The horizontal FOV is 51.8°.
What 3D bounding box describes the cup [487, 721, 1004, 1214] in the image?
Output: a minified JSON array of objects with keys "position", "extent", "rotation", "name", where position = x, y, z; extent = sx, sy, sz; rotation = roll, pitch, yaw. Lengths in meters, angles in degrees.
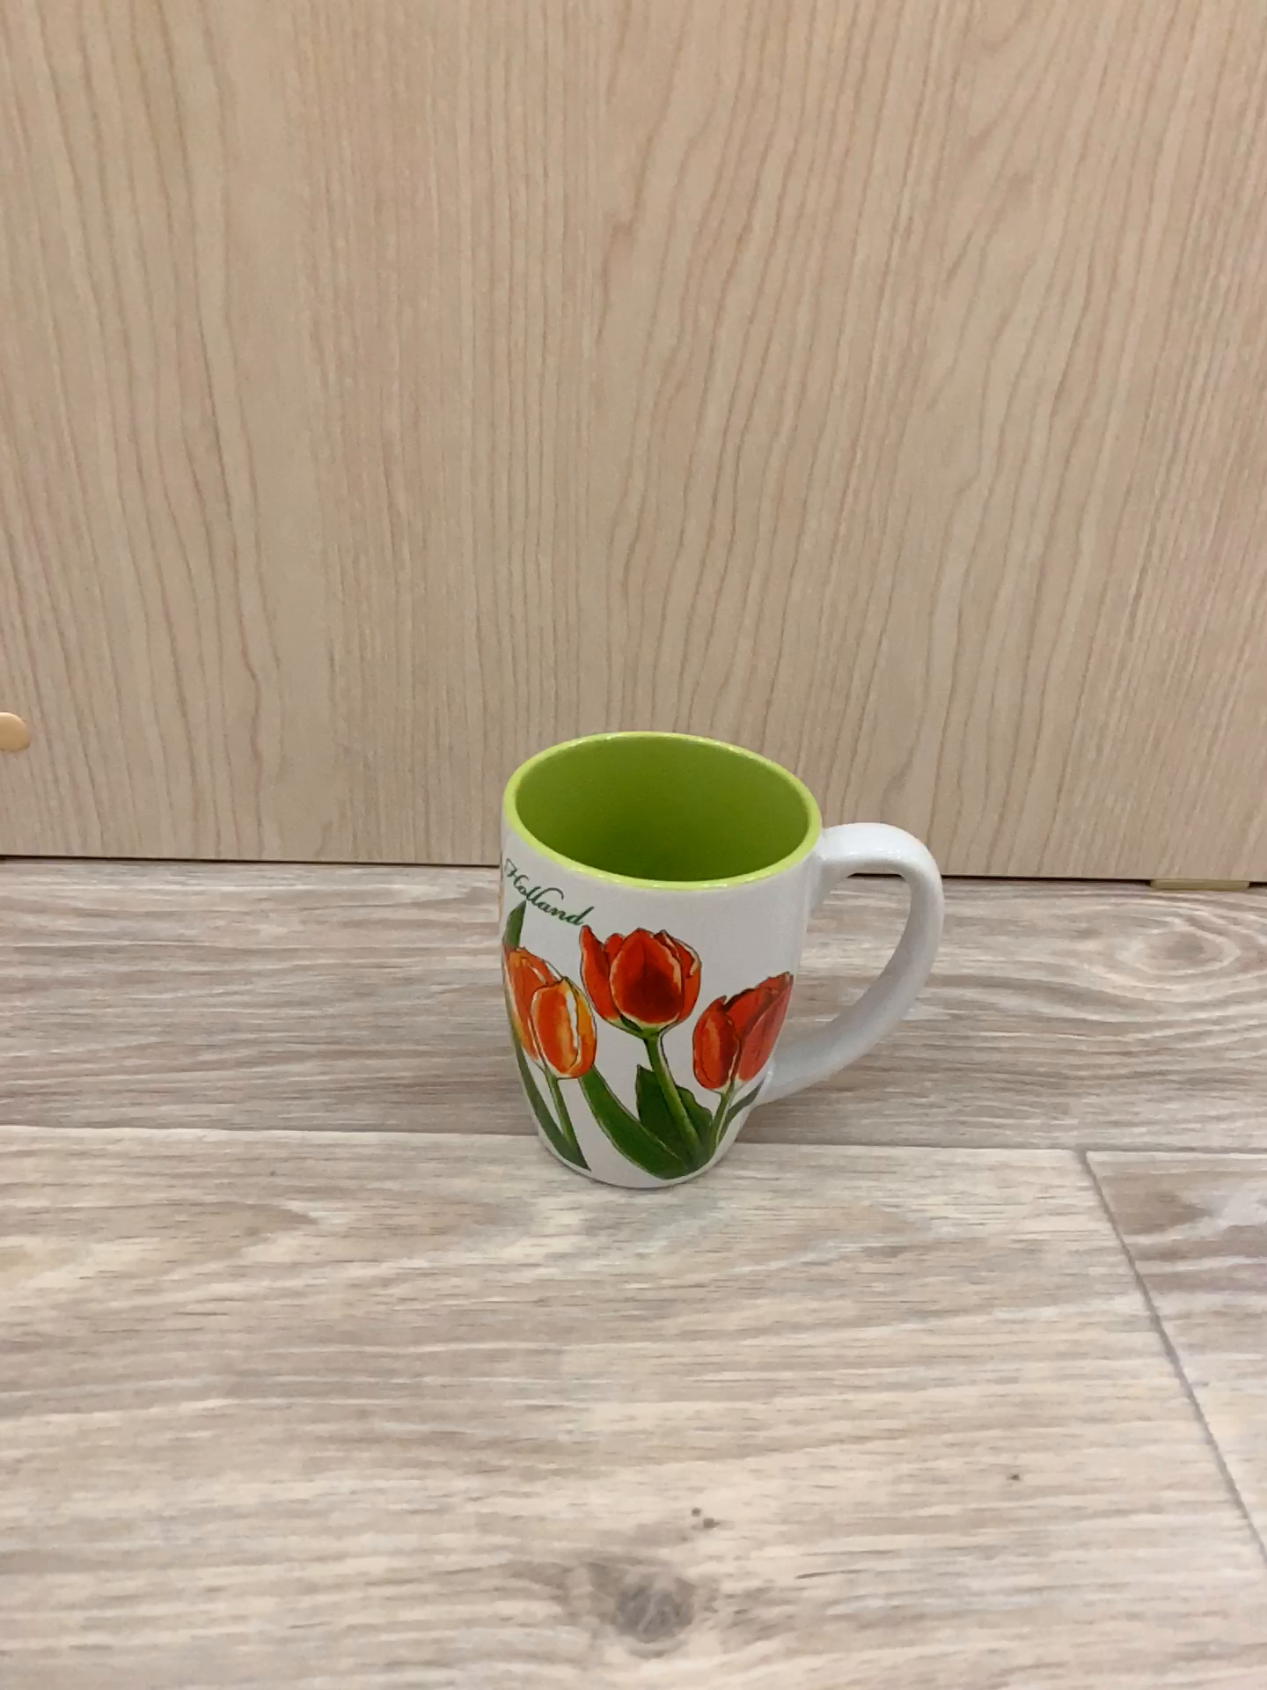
[{"position":[0.021,0.030,0.365],"extent":[0.118,0.101,0.084],"rotation":[-2,30,-10],"name":"cup"}]
